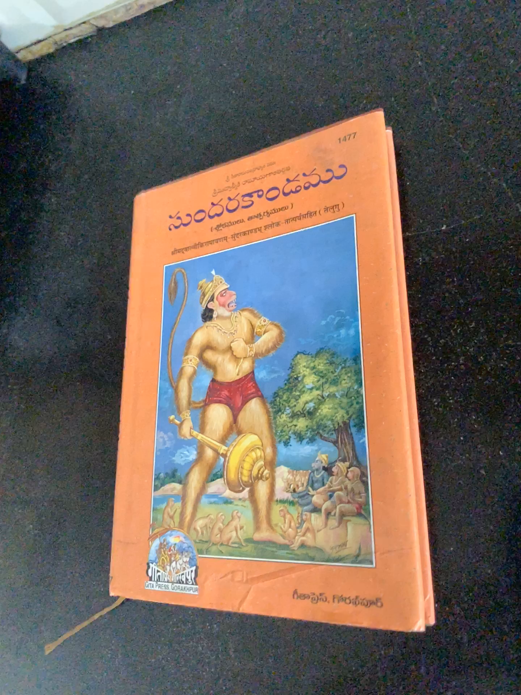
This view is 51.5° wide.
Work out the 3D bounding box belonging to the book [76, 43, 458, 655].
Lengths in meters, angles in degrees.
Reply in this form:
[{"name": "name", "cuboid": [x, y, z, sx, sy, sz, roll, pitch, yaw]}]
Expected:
[{"name": "book", "cuboid": [-0.007, -0.006, 0.318, 0.201, 0.040, 0.301, -8, 72, 28]}]
